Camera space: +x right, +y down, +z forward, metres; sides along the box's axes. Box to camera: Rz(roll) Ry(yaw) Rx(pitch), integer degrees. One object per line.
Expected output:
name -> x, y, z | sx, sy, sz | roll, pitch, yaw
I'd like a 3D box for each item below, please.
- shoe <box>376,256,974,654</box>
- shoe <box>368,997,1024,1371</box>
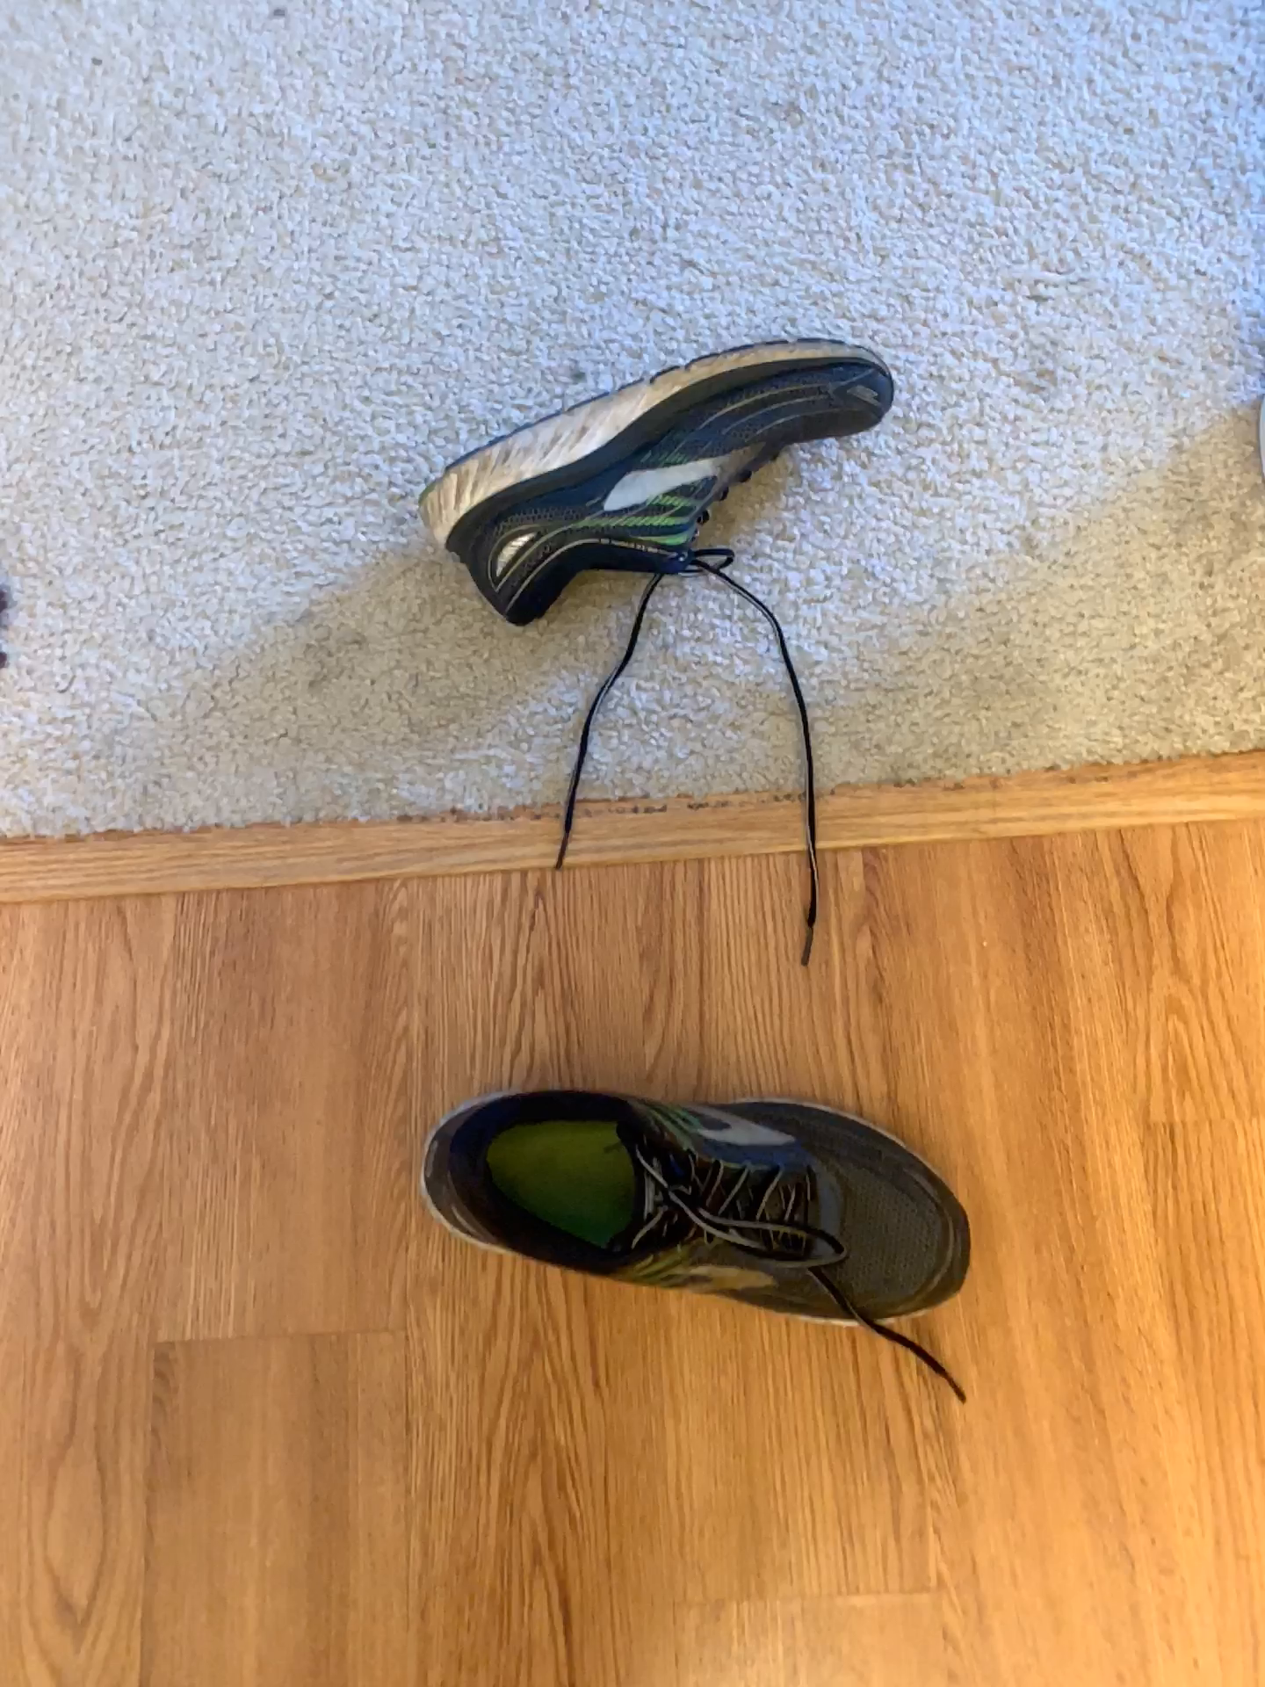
shoe -> 0.022, -0.224, 0.768 | 0.310, 0.110, 0.120 | -18, 91, -4
shoe -> 0.034, 0.182, 0.704 | 0.311, 0.123, 0.120 | 11, 75, 4
